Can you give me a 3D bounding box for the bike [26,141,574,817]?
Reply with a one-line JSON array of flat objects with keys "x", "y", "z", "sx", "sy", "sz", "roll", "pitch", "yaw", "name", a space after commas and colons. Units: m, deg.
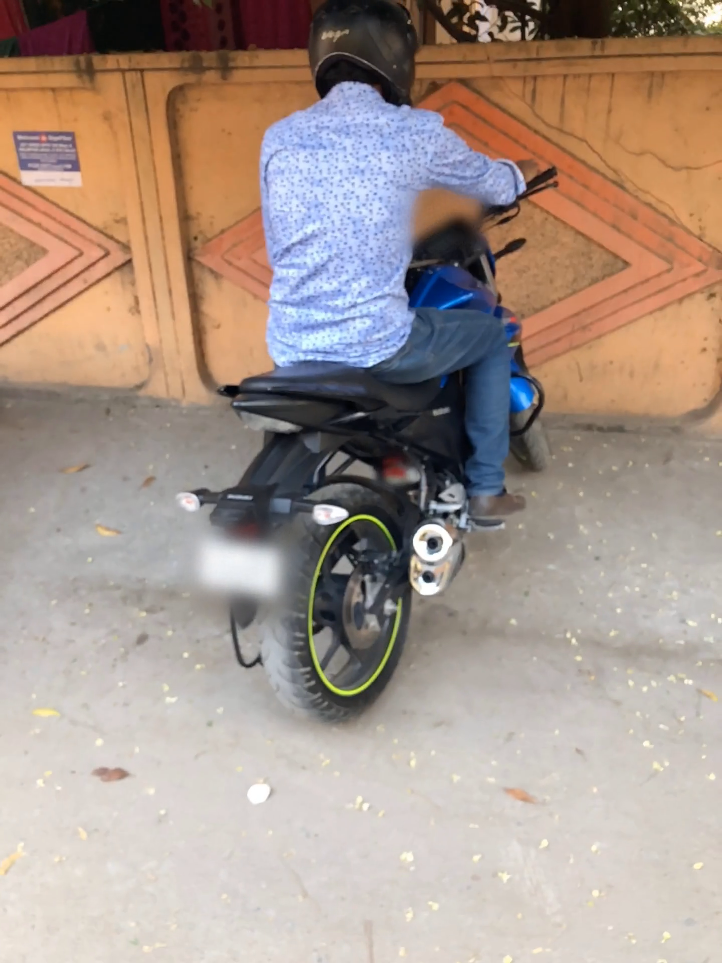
[{"x": 0.053, "y": -0.290, "z": 2.444, "sx": 0.794, "sy": 1.187, "sz": 1.898, "roll": 10, "pitch": 30, "yaw": 20, "name": "bike"}]
